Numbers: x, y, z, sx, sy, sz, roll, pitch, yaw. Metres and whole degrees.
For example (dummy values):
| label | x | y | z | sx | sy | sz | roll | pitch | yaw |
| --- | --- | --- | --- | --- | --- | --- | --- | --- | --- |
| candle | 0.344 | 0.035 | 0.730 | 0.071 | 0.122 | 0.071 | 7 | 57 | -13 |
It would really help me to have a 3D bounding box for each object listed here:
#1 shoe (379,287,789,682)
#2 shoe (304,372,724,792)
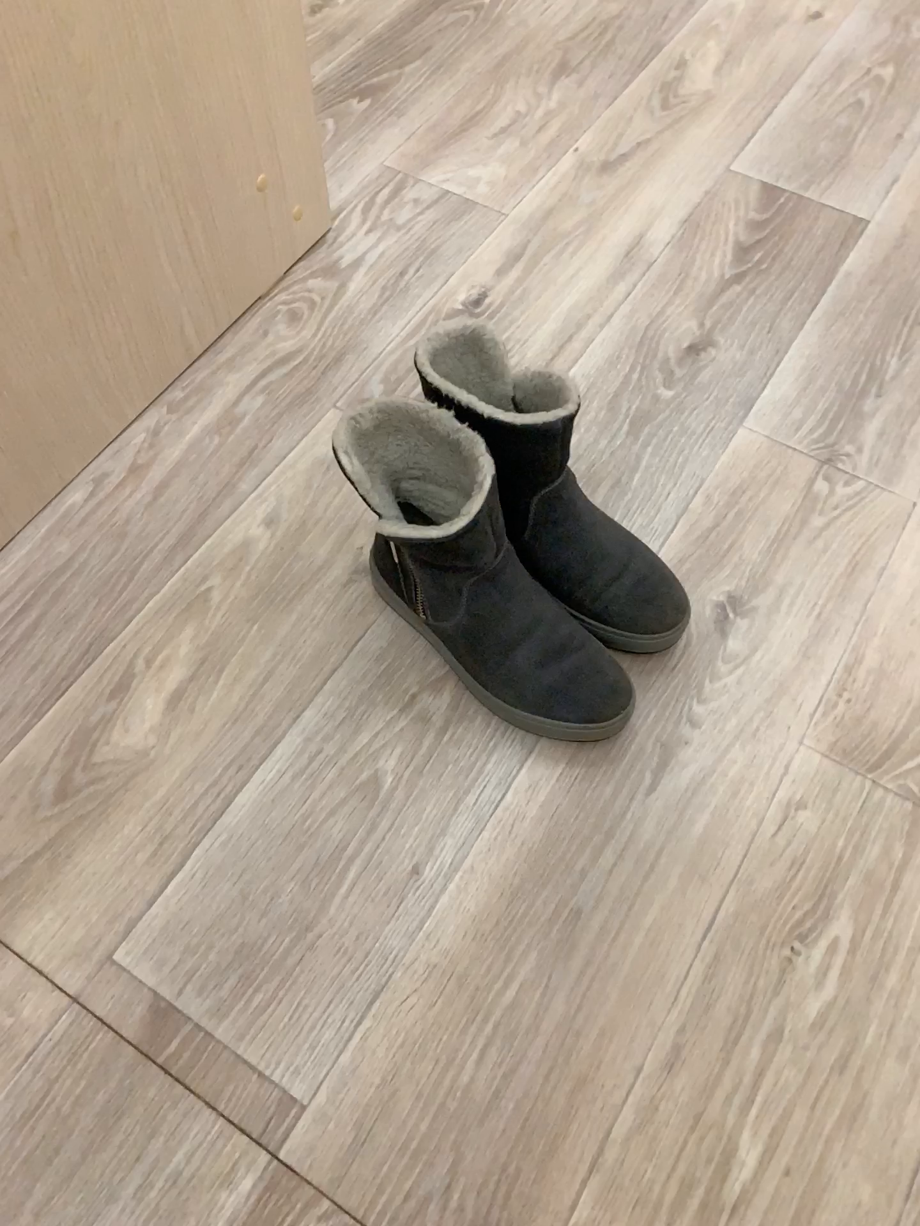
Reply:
| label | x | y | z | sx | sy | sz | roll | pitch | yaw |
| --- | --- | --- | --- | --- | --- | --- | --- | --- | --- |
| shoe | 0.080 | -0.096 | 0.716 | 0.271 | 0.169 | 0.100 | 34 | 65 | 19 |
| shoe | 0.030 | -0.020 | 0.690 | 0.271 | 0.179 | 0.100 | 36 | 66 | 19 |
